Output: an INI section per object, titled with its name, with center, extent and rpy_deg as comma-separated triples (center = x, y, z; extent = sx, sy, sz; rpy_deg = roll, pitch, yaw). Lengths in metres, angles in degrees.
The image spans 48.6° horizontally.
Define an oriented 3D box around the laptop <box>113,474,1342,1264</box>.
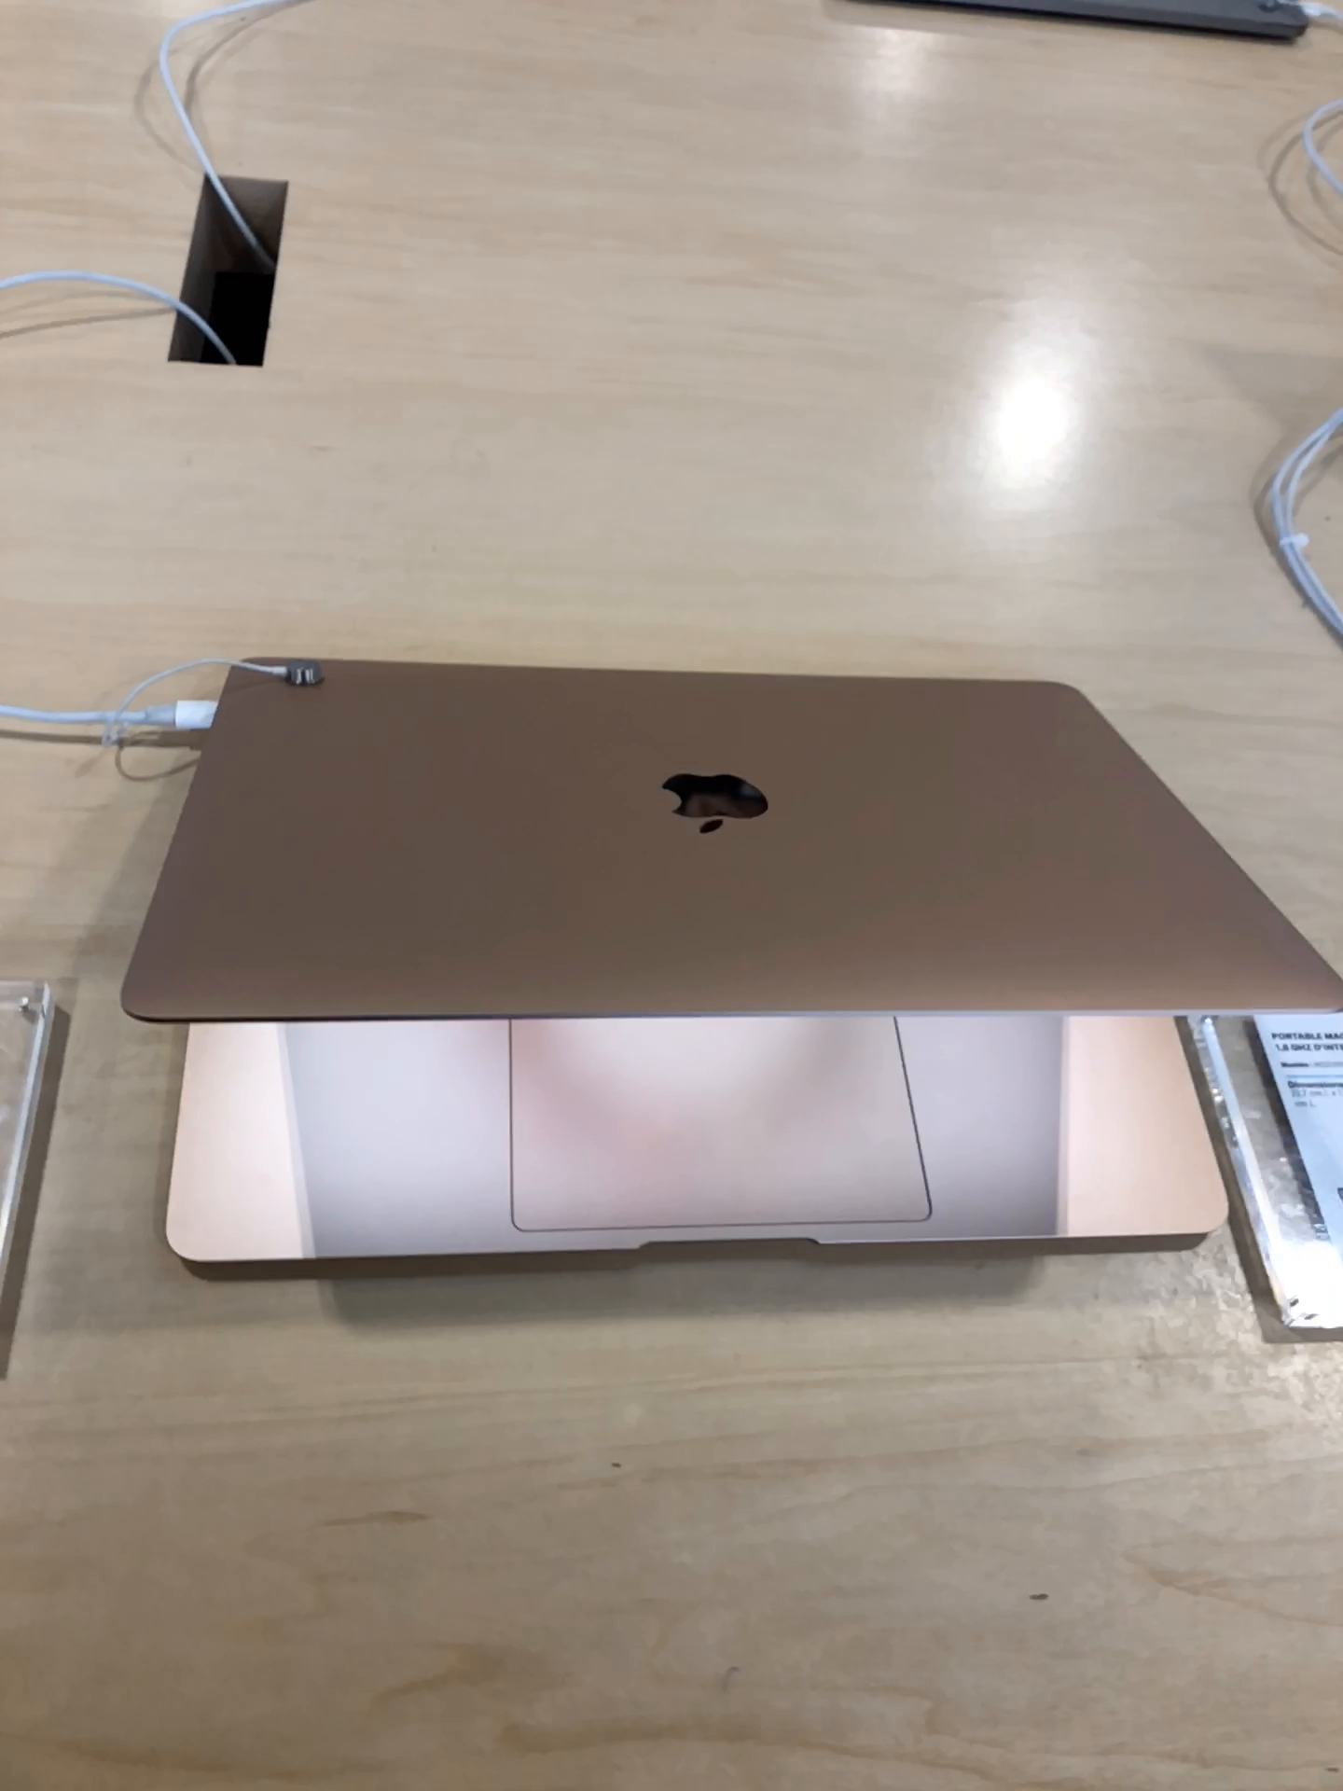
[laptop]
center = 0.014, -0.014, 0.429
extent = 0.288, 0.093, 0.203
rpy_deg = 0, 54, -8
